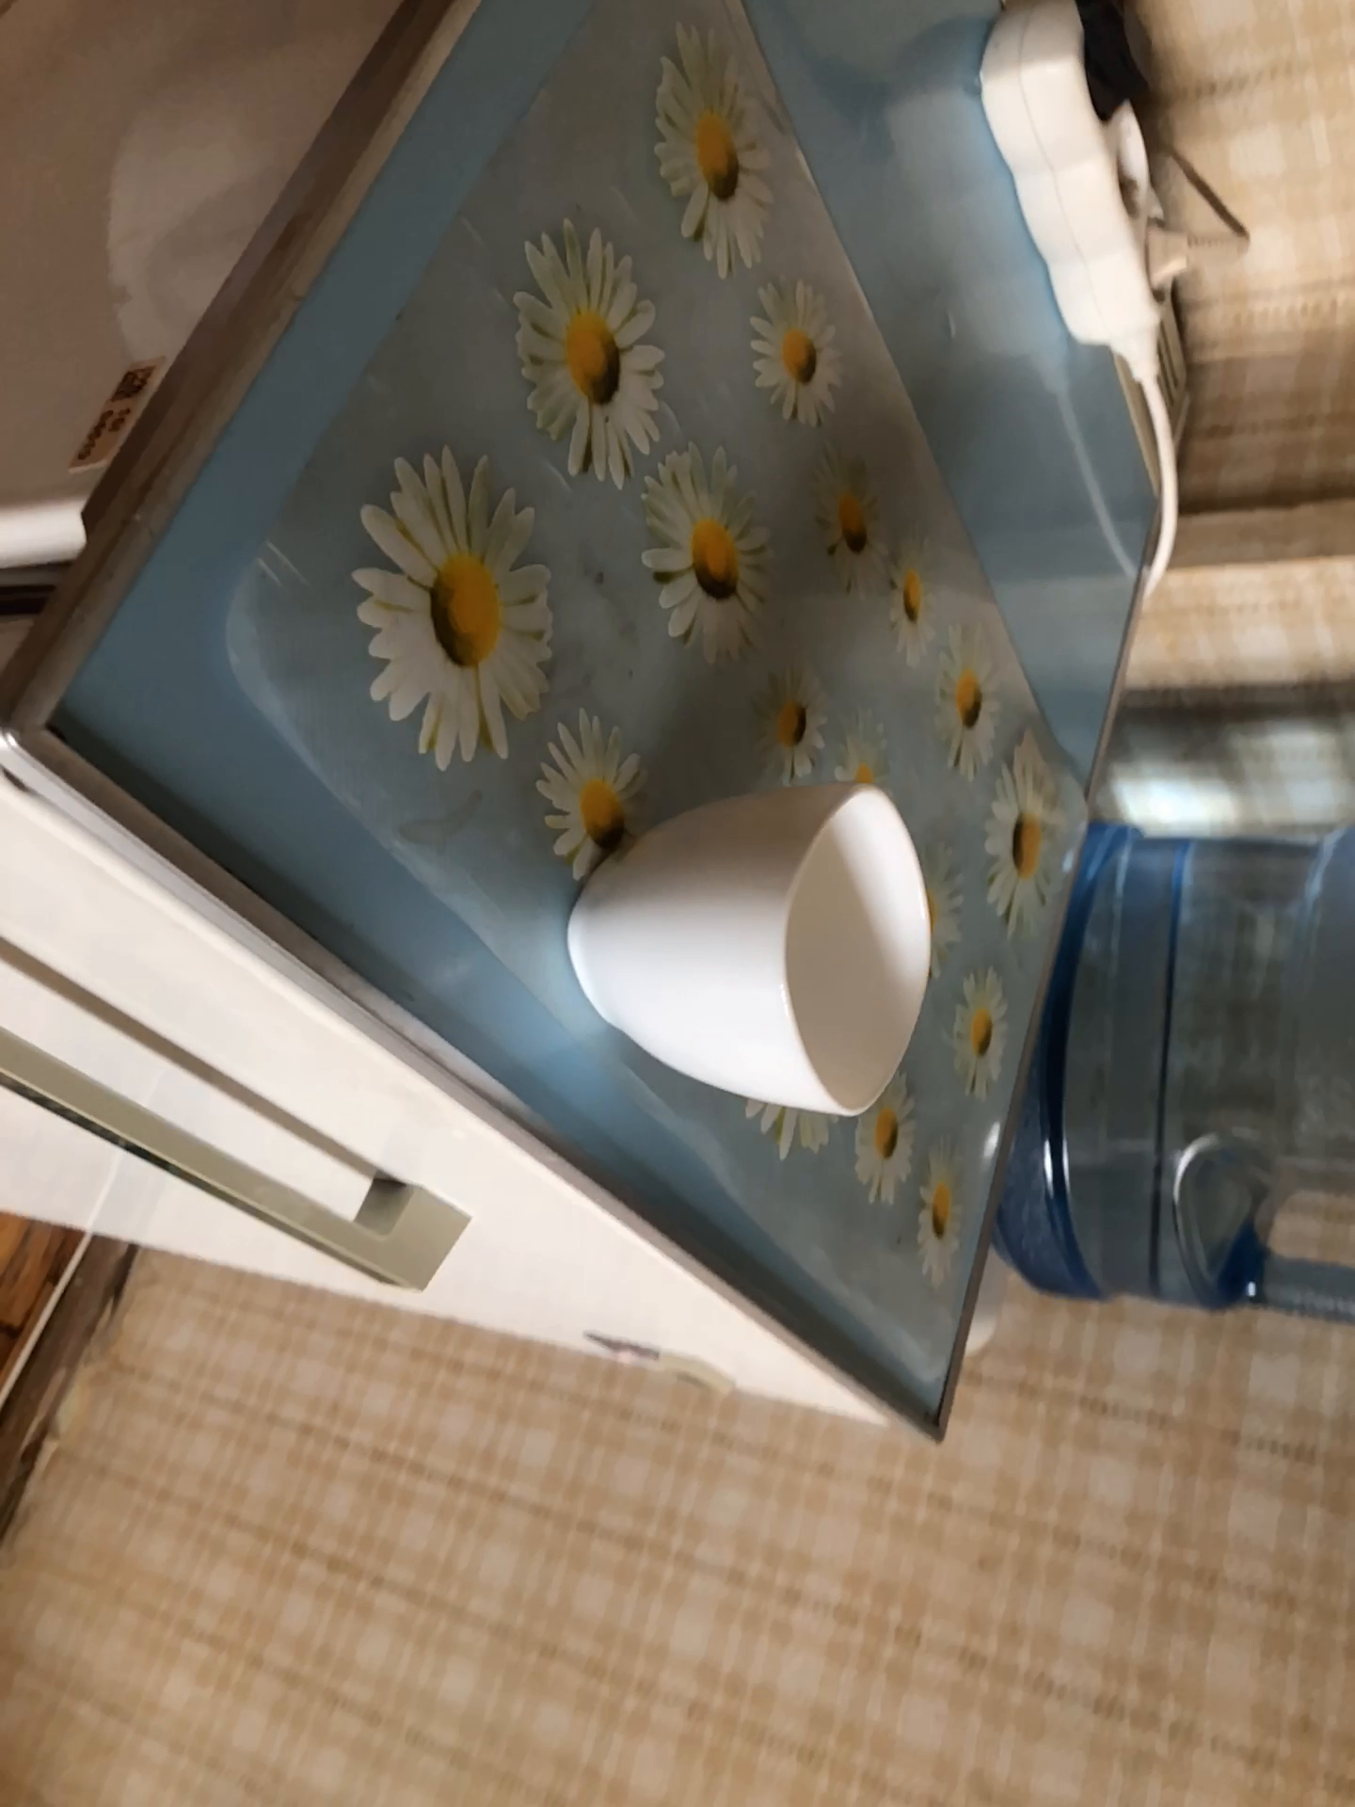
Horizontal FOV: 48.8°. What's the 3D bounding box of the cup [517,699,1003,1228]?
[{"bbox_3d":[0.026,0.016,0.382,0.085,0.070,0.102,43,57,-49],"label":"cup"}]
